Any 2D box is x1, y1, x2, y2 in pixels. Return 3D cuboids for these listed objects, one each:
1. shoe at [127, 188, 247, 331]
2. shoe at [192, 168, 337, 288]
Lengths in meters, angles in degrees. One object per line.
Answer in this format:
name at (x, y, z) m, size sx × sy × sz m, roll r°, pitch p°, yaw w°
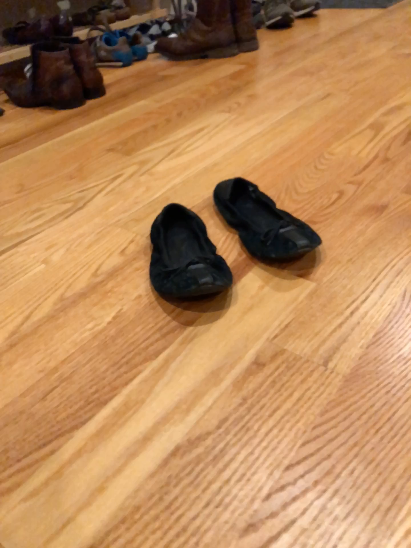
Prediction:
shoe at (-0.032, -0.031, 0.575) m, size 0.100 × 0.050 × 0.221 m, roll -14°, pitch 37°, yaw -8°
shoe at (0.069, -0.073, 0.612) m, size 0.093 × 0.046 × 0.221 m, roll -19°, pitch 38°, yaw -15°
